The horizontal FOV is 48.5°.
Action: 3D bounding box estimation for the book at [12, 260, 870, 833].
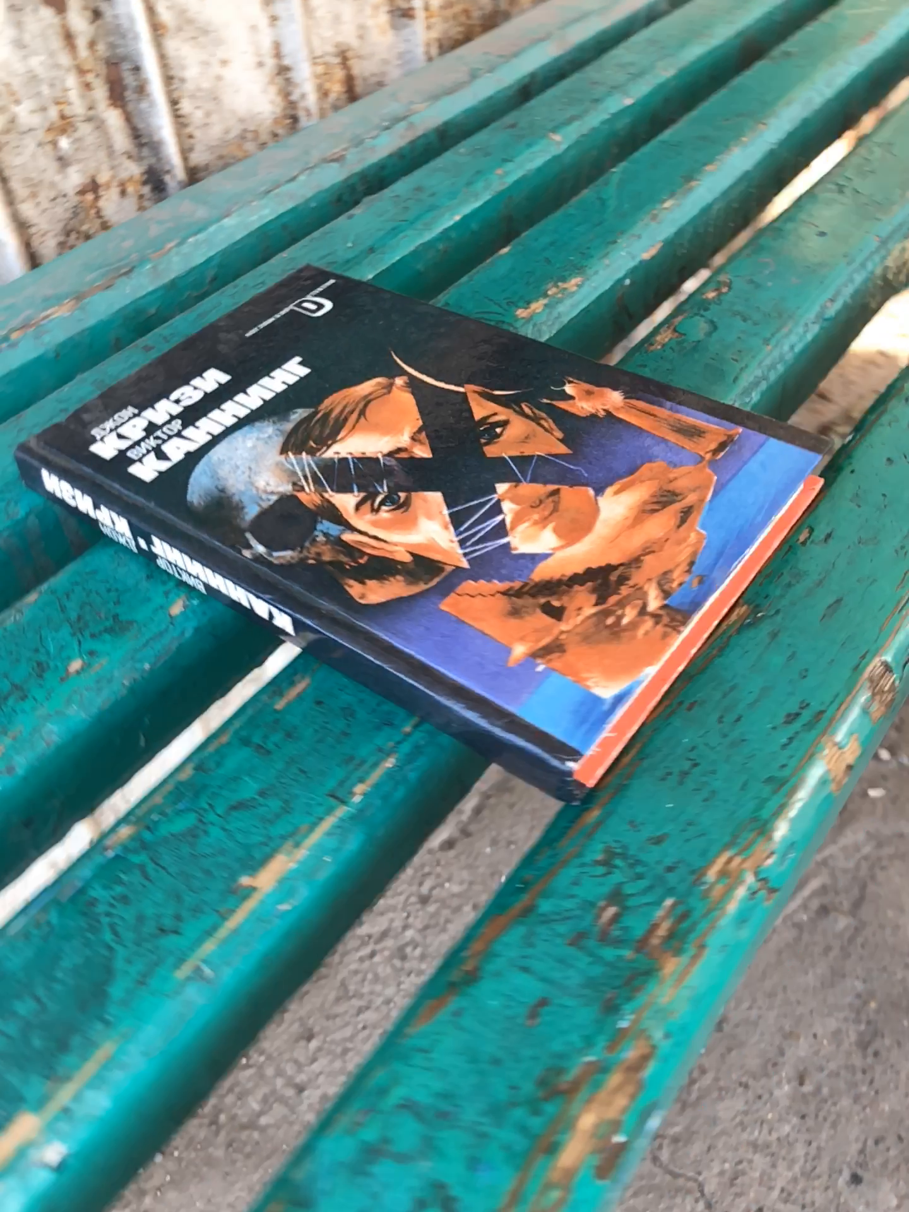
[{"bbox_3d":[-0.009,-0.040,0.299,0.212,0.020,0.135,27,54,28],"label":"book"}]
